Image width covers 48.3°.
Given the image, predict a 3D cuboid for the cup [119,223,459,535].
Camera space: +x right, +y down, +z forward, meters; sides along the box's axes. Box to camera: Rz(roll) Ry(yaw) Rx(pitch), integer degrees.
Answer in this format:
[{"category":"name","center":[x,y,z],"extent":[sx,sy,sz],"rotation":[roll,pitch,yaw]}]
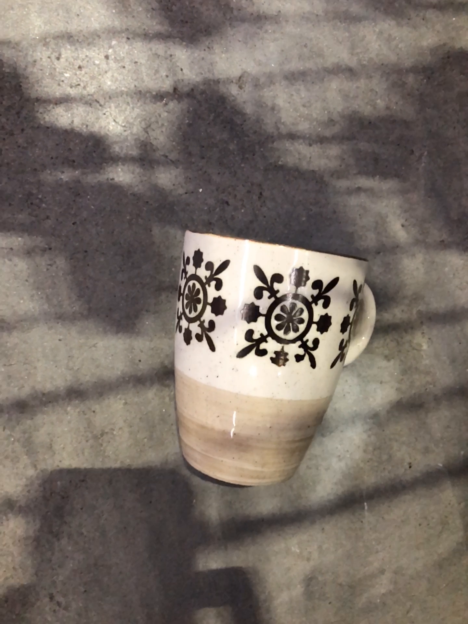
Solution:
[{"category":"cup","center":[0.020,0.018,0.207],"extent":[0.100,0.070,0.090],"rotation":[4,98,-34]}]
